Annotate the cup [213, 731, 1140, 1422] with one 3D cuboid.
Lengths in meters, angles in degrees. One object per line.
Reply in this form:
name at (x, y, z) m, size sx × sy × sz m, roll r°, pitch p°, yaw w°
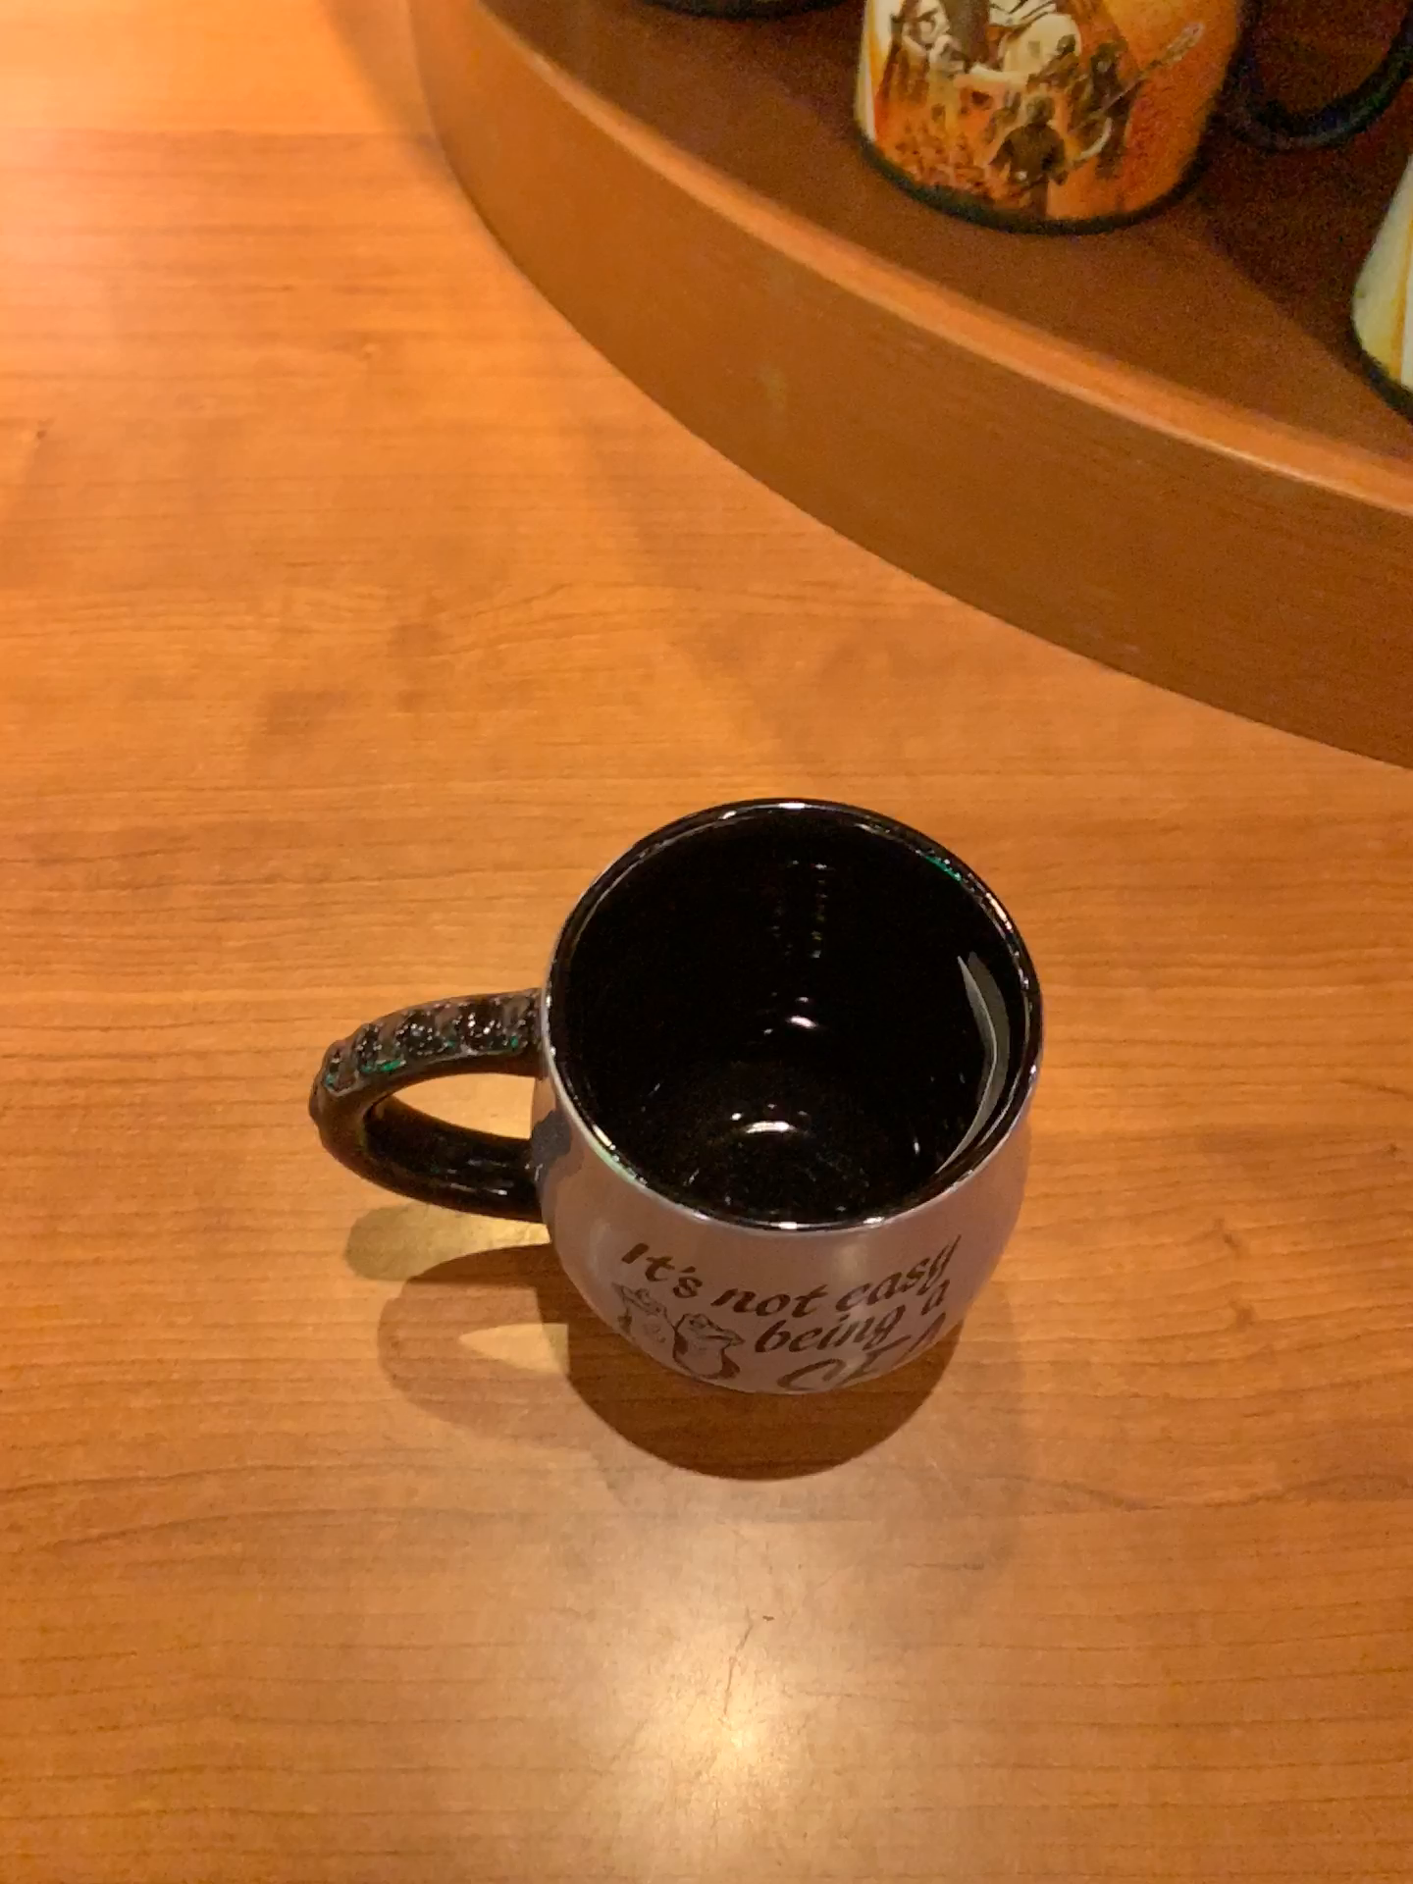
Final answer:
cup at (-0.006, 0.027, 0.258) m, size 0.125 × 0.090 × 0.087 m, roll -2°, pitch 58°, yaw -2°
